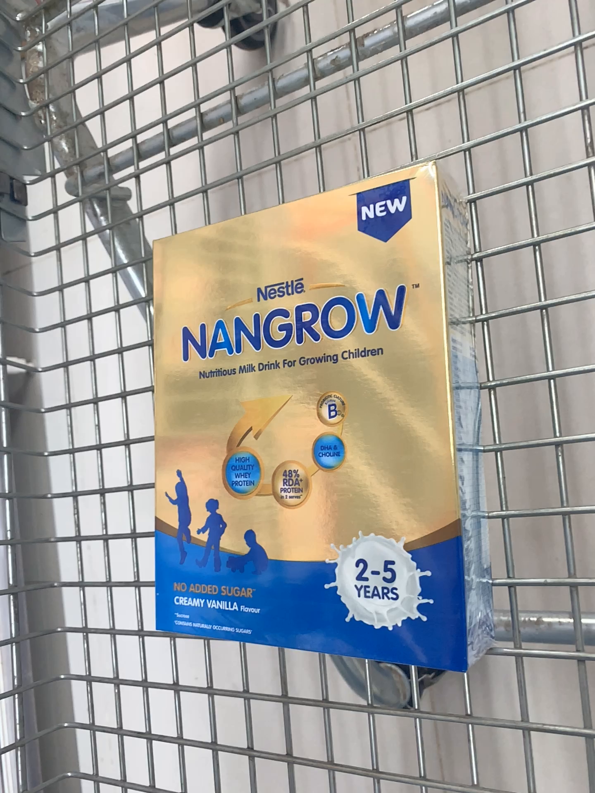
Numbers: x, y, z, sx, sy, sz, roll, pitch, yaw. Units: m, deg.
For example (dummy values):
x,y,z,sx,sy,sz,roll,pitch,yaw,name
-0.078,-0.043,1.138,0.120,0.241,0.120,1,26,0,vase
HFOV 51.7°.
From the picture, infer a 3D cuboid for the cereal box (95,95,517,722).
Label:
x,y,z,sx,sy,sz,roll,pitch,yaw,name
-0.002,0.007,0.250,0.151,0.060,0.190,-4,88,31,cereal box
